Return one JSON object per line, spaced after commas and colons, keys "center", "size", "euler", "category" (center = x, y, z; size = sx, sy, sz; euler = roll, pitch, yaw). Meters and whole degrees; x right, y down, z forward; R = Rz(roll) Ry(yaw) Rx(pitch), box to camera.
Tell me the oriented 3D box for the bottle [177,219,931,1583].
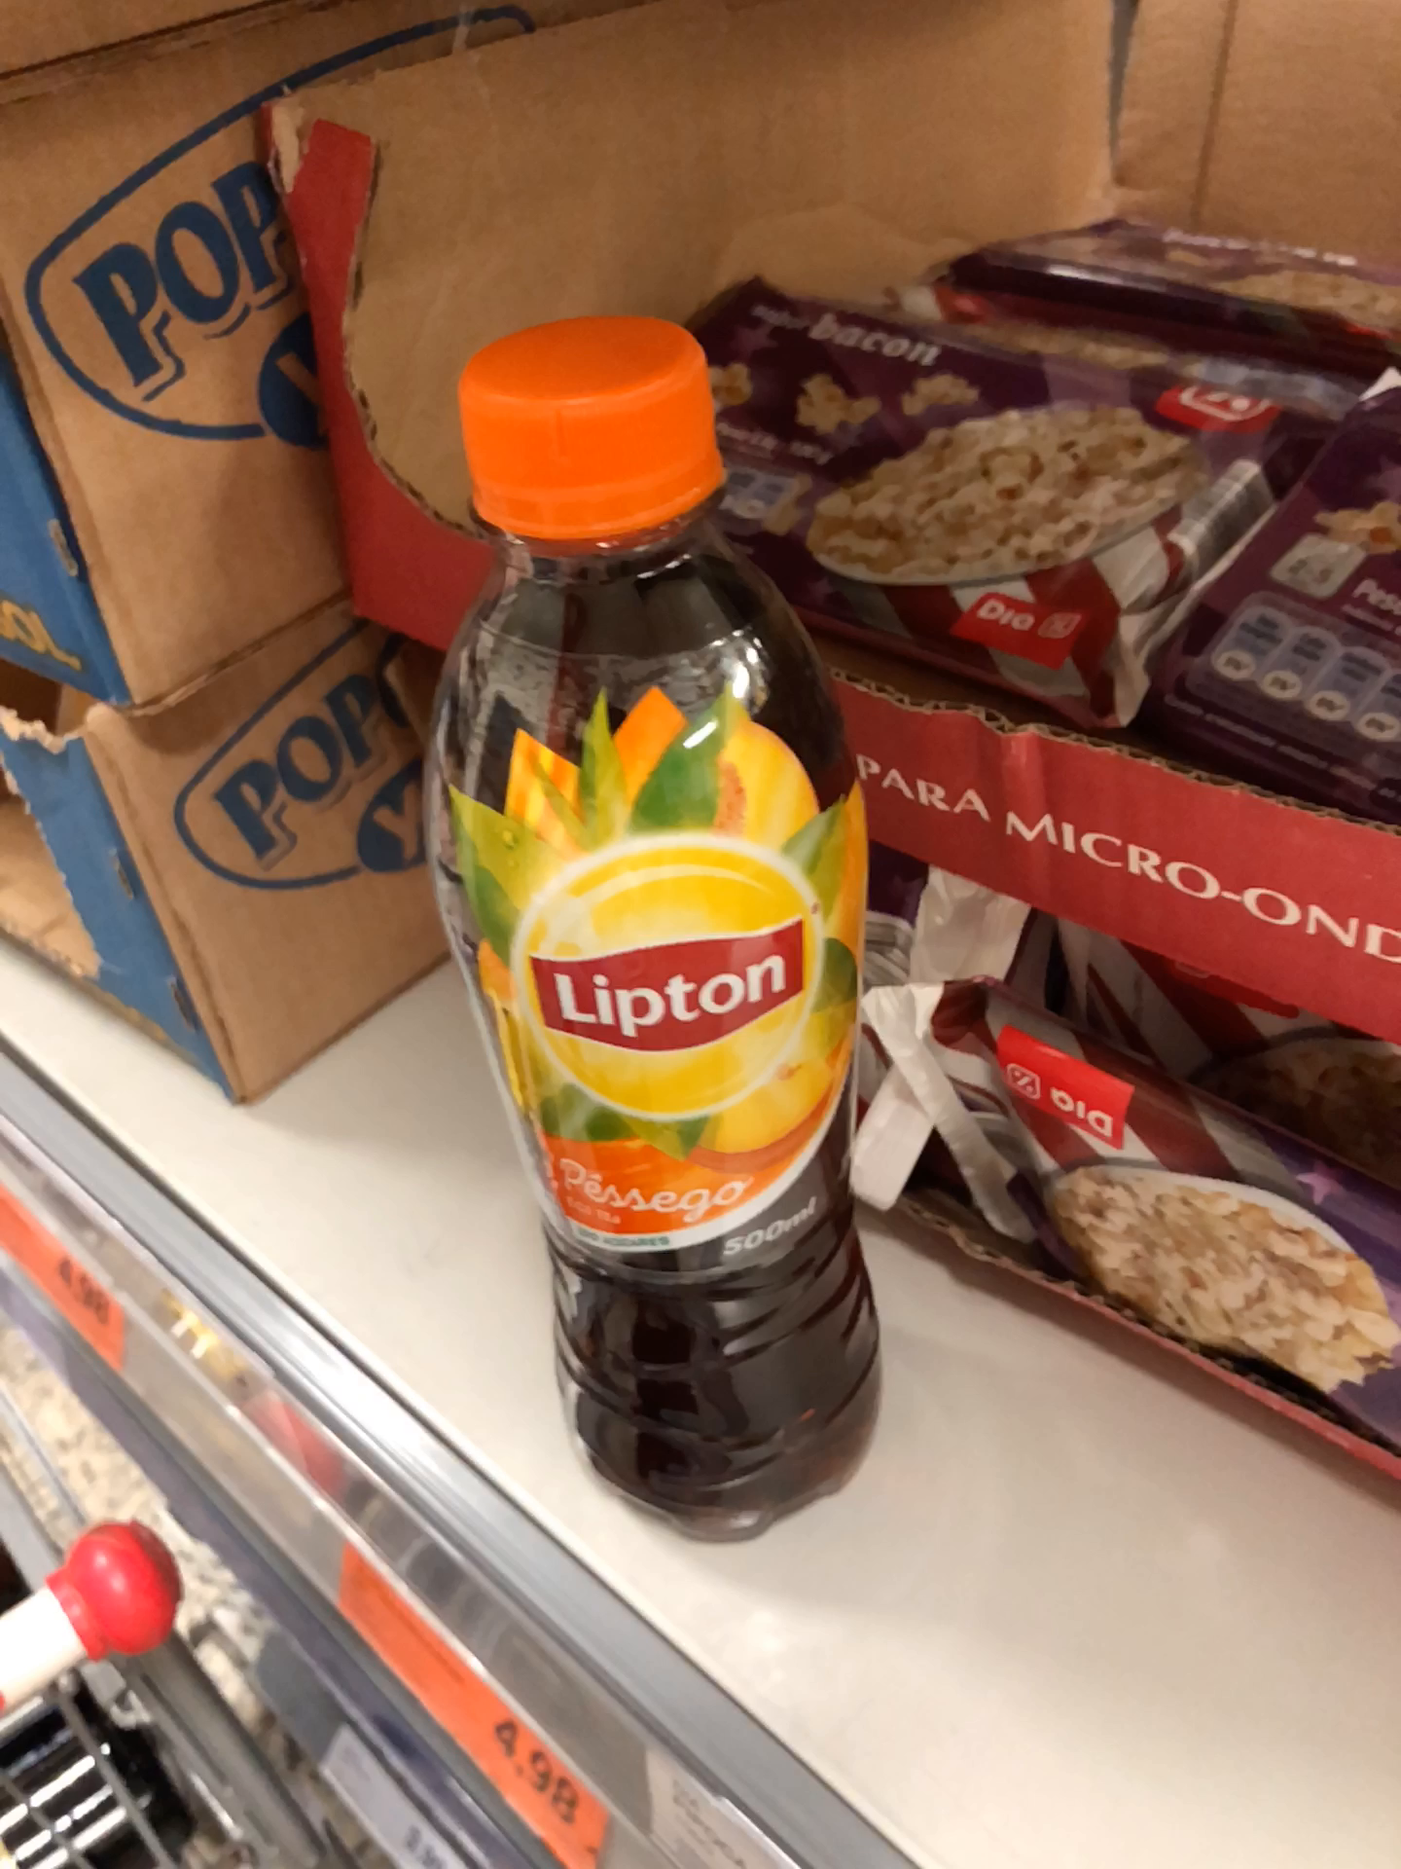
{"center": [-0.008, 0.015, 0.255], "size": [0.070, 0.218, 0.071], "euler": [-5, 42, 5], "category": "bottle"}
